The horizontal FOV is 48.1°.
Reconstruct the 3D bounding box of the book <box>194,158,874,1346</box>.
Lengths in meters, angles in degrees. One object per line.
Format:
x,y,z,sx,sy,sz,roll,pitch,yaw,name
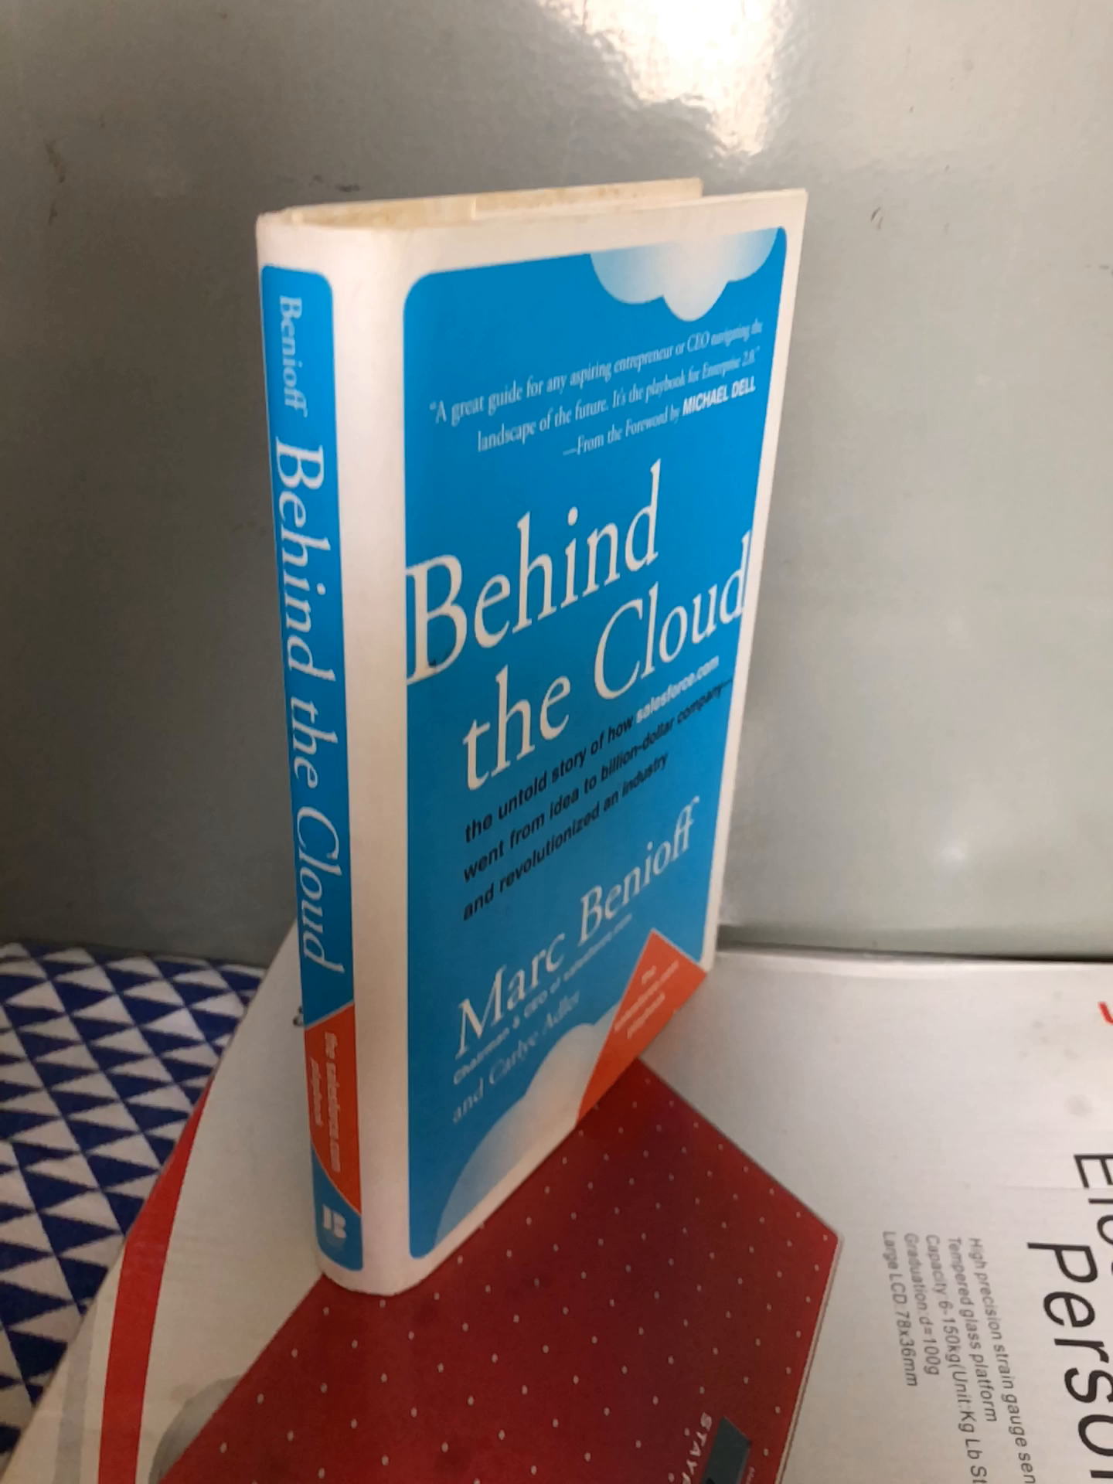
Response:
0.008,-0.011,0.311,0.040,0.239,0.191,17,29,30,book
